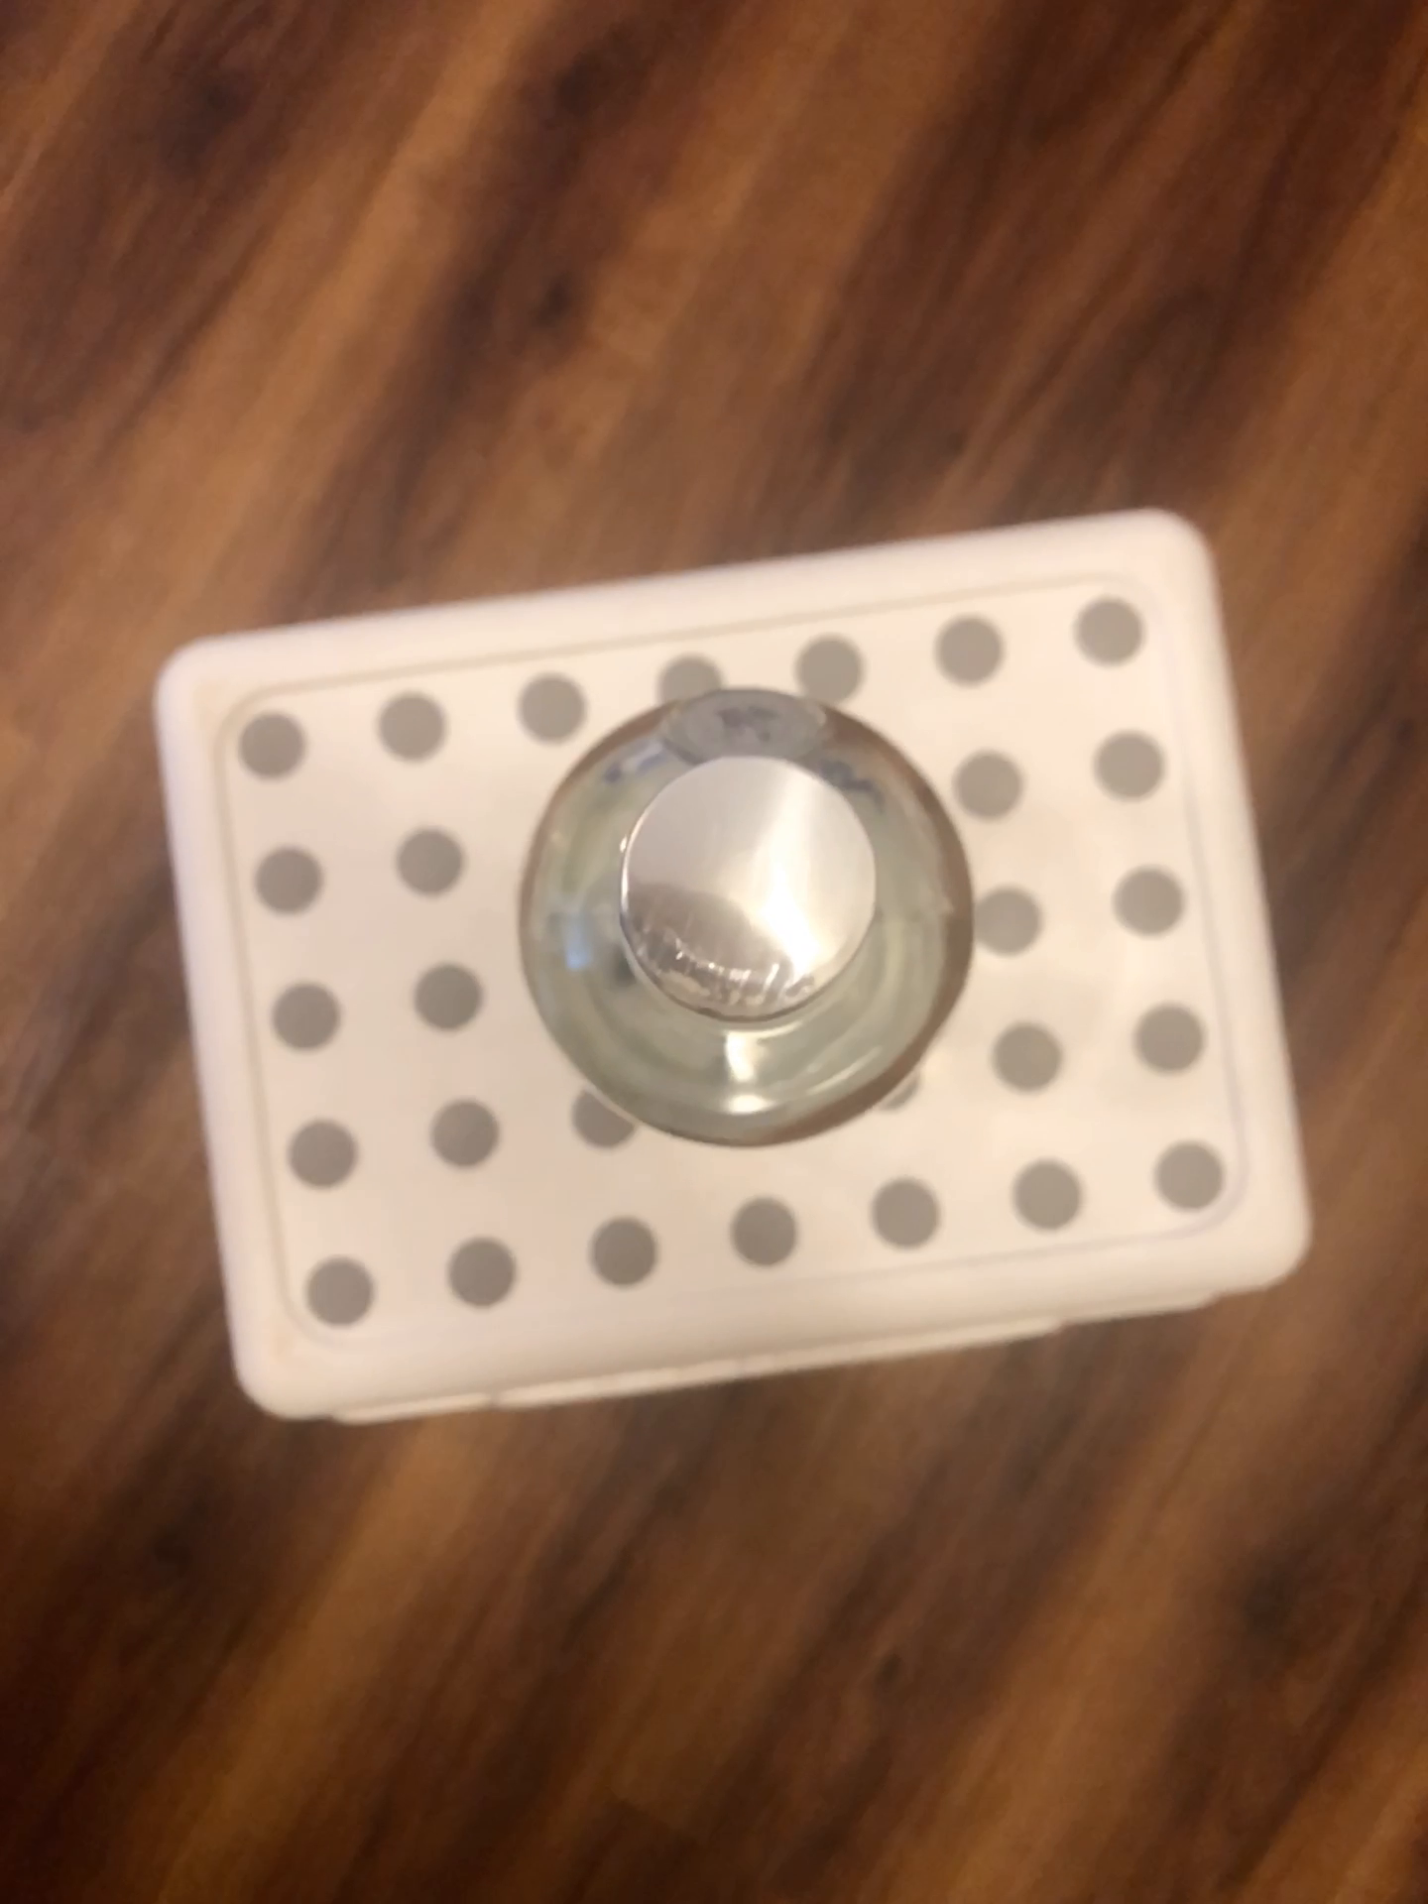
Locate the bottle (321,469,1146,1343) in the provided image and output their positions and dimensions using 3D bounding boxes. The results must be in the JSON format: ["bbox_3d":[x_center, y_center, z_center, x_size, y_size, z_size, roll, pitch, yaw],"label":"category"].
[{"bbox_3d":[0.003,-0.001,0.356,0.090,0.270,0.100,16,88,1],"label":"bottle"}]
